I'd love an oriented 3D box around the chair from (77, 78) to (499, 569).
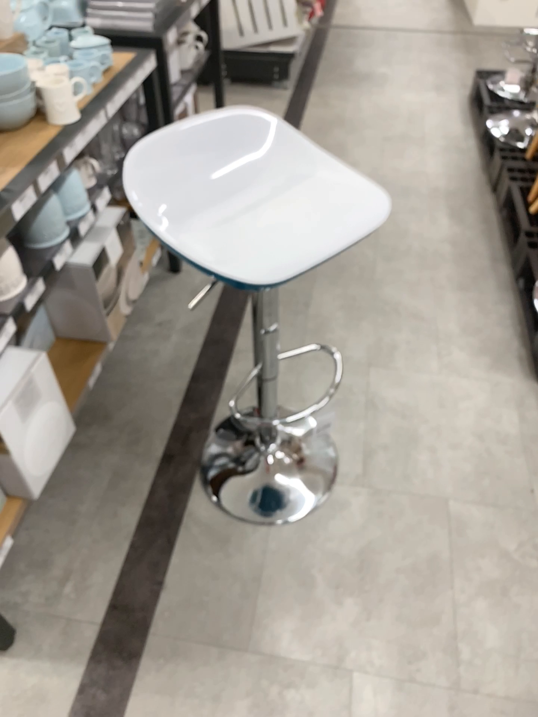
[{"bbox_3d":[0.032,-0.060,1.184,0.504,0.776,0.471,-34,54,-29],"label":"chair"}]
